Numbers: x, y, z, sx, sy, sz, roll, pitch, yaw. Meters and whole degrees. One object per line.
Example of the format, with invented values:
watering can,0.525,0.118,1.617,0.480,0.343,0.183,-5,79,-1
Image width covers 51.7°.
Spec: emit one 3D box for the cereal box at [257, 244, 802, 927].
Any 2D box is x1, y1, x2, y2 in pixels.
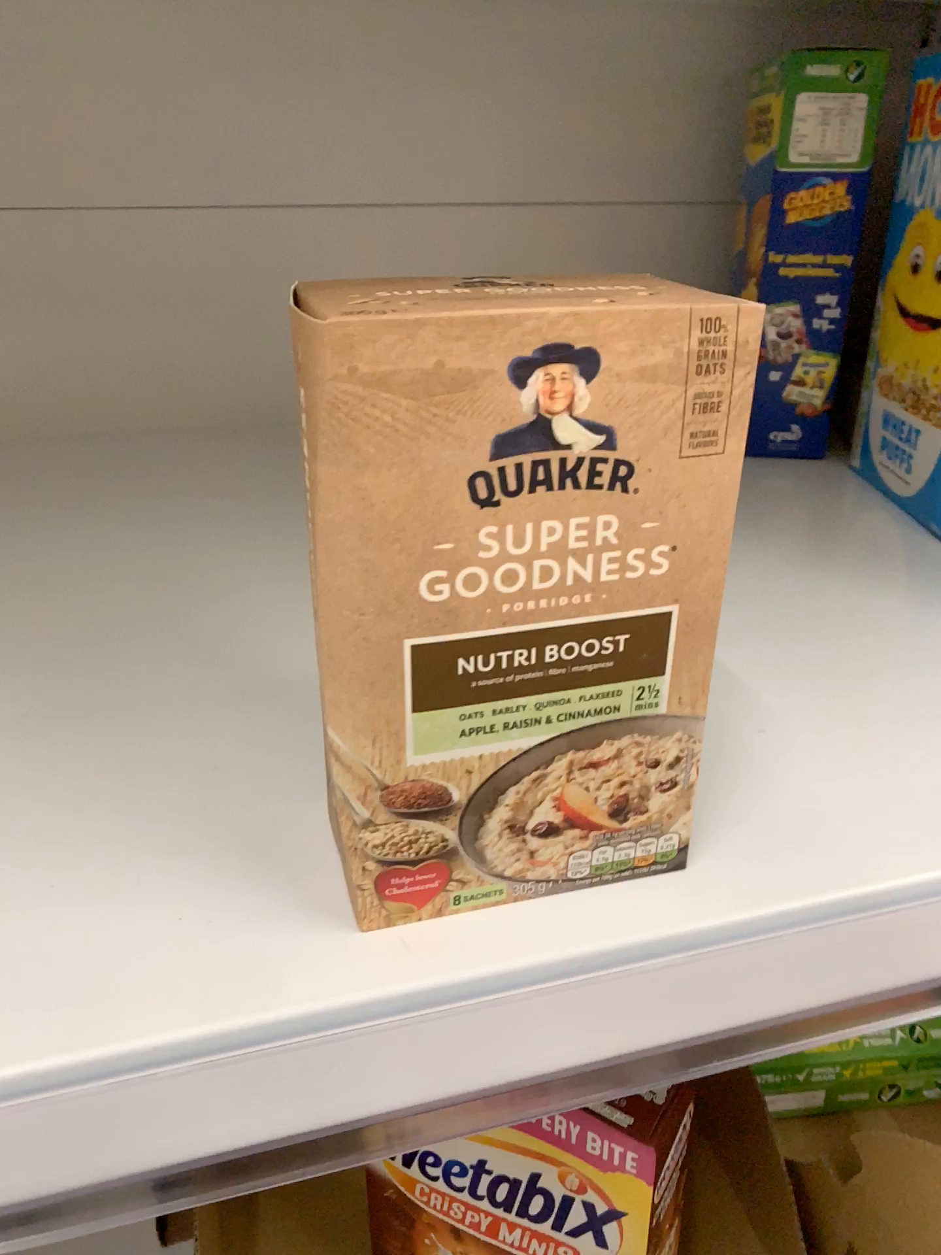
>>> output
cereal box,0.012,-0.016,0.319,0.140,0.198,0.071,-7,27,-15
